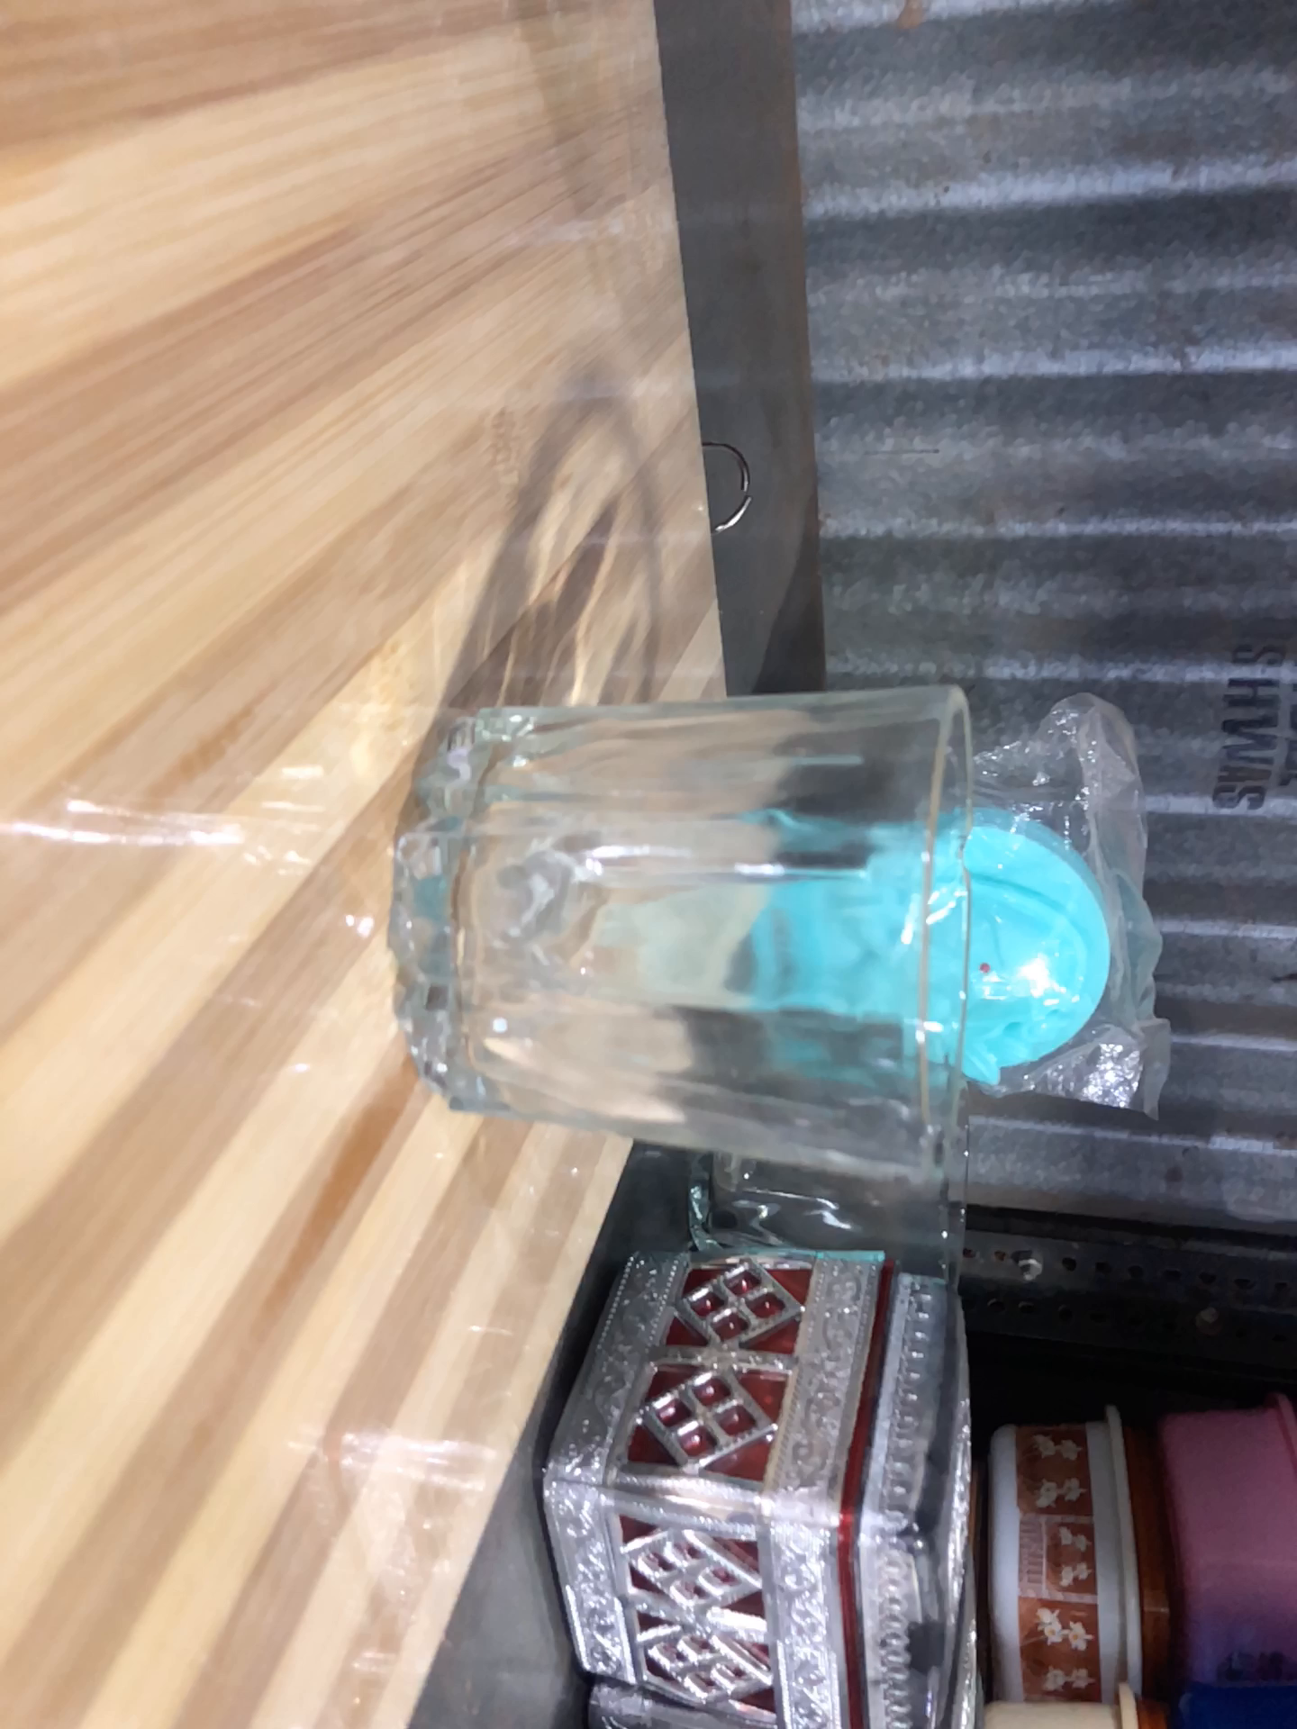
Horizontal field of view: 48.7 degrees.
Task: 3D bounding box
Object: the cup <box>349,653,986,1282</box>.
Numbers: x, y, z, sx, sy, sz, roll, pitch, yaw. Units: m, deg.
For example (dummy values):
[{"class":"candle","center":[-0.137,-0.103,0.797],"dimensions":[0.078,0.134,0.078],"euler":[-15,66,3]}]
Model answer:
[{"class":"cup","center":[0.011,0.016,0.230],"dimensions":[0.080,0.080,0.080],"euler":[2,90,-75]}]
